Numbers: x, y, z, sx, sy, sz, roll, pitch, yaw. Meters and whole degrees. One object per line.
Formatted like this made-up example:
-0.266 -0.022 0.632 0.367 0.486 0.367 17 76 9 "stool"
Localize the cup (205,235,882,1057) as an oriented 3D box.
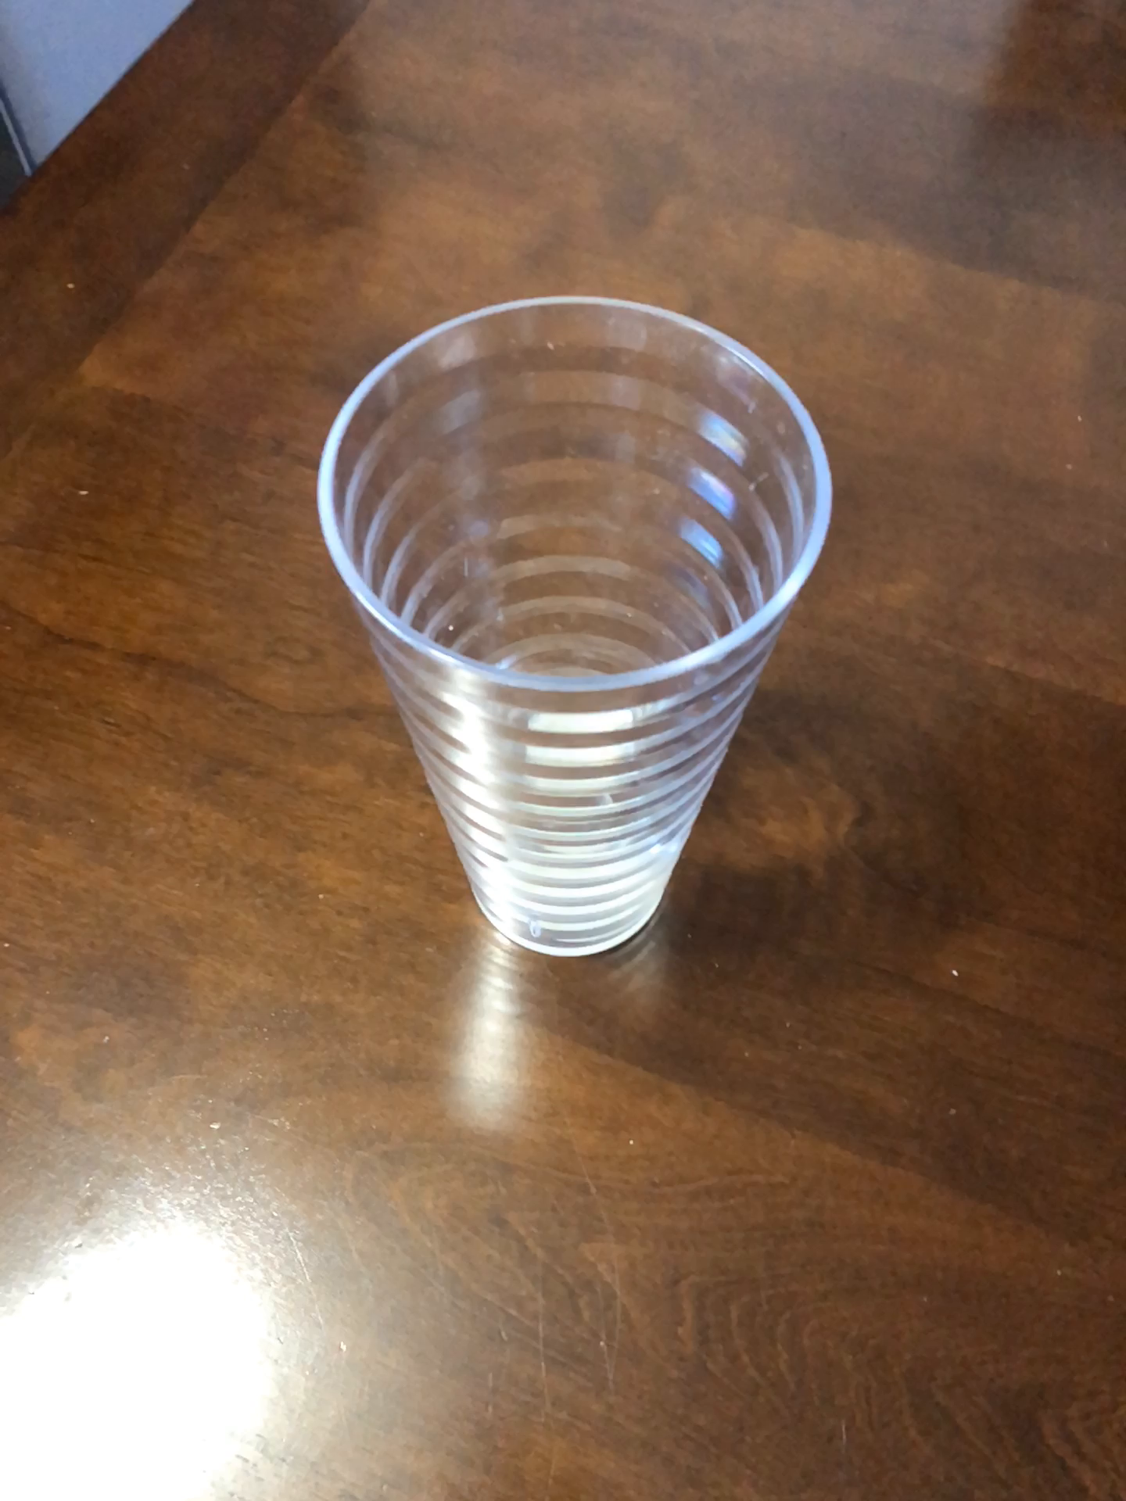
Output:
0.000 -0.012 0.318 0.100 0.180 0.100 0 60 0 "cup"
